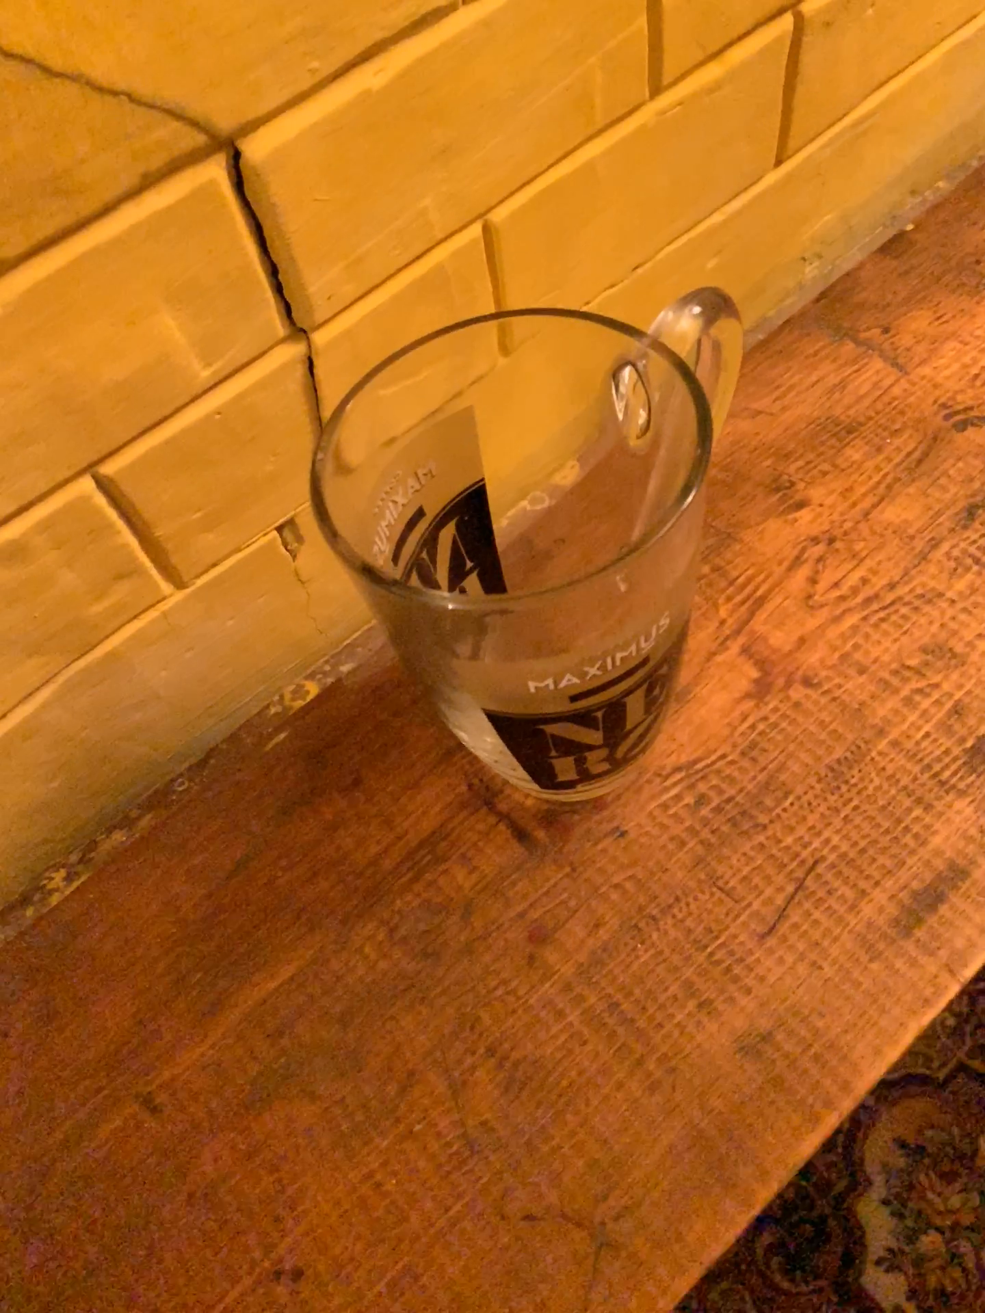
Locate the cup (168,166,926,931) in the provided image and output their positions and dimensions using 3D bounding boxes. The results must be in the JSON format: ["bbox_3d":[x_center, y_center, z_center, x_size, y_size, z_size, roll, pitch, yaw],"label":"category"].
[{"bbox_3d":[0.017,-0.025,0.245,0.093,0.099,0.124,36,70,26],"label":"cup"}]
